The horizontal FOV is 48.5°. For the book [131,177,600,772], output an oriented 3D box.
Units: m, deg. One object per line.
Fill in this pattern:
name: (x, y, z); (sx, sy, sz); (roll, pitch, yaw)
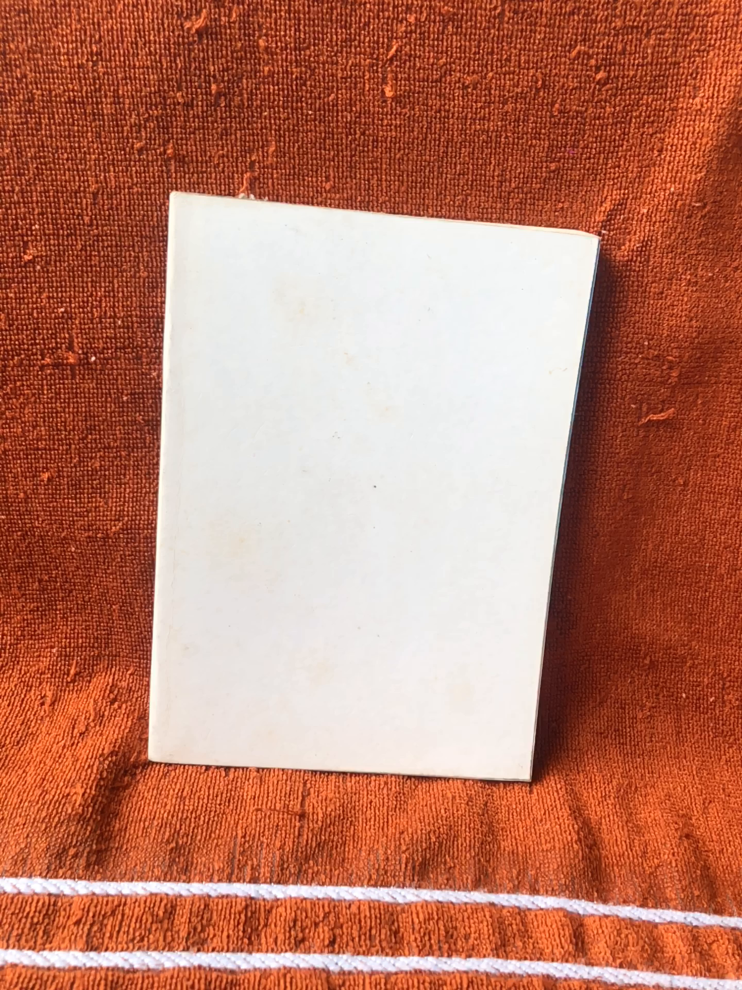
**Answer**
book: (-0.002, -0.005, 0.310); (0.150, 0.200, 0.030); (5, 3, -4)
